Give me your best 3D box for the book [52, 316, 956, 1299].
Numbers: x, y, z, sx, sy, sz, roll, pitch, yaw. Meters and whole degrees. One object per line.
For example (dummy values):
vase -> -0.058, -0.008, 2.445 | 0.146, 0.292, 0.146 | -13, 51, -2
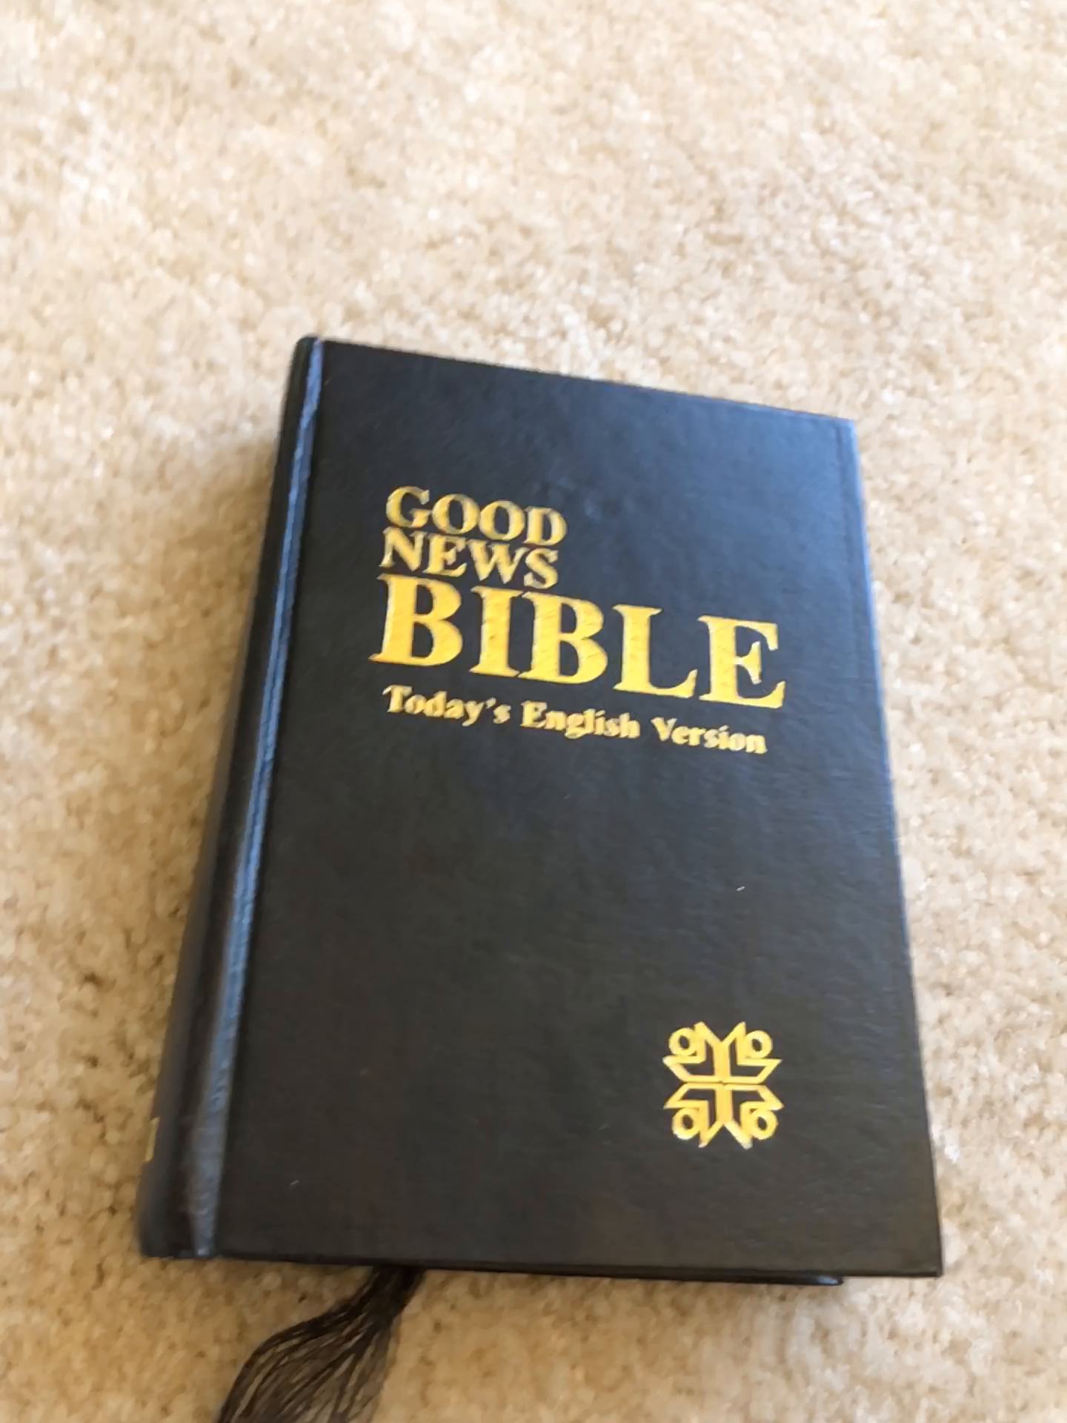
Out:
book -> -0.001, 0.013, 0.214 | 0.124, 0.040, 0.160 | 7, 64, -8
